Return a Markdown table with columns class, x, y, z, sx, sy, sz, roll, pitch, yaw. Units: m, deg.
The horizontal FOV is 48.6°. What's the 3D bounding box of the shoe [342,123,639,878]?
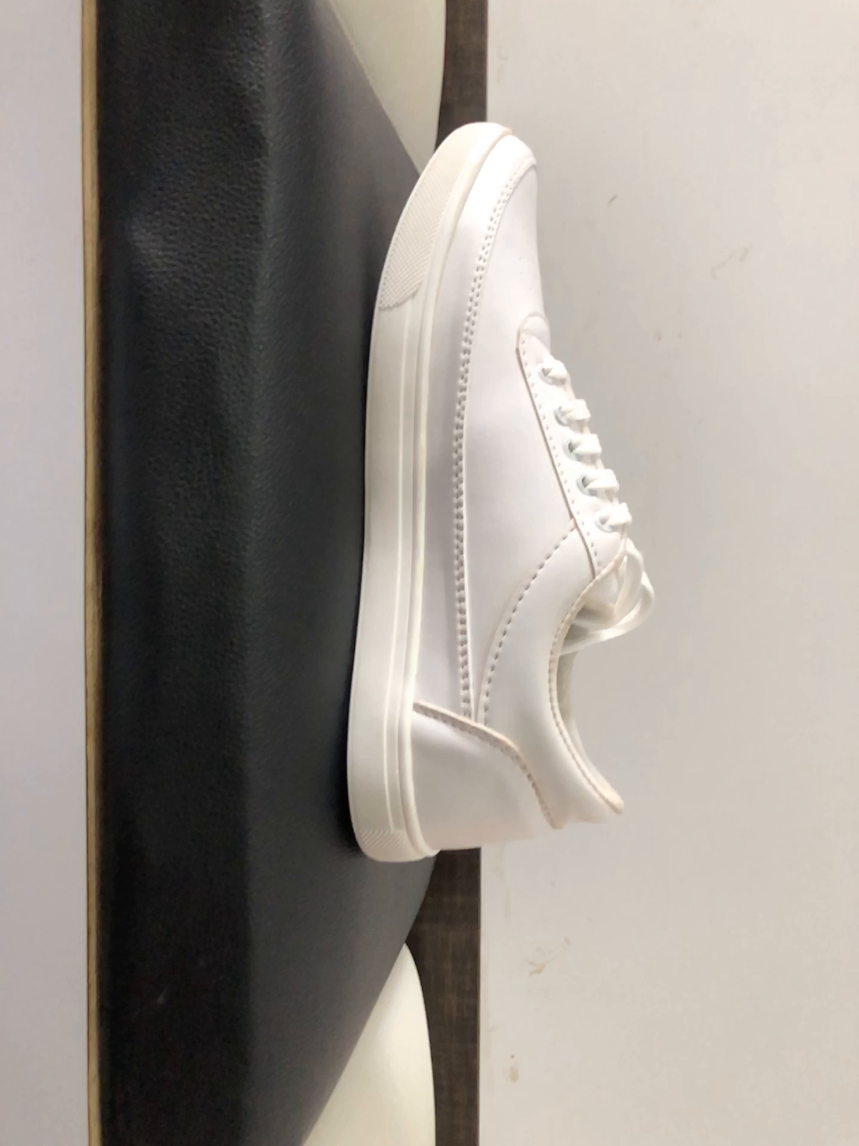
| class | x | y | z | sx | sy | sz | roll | pitch | yaw |
| --- | --- | --- | --- | --- | --- | --- | --- | --- | --- |
| shoe | 0.035 | -0.027 | 0.434 | 0.130 | 0.110 | 0.290 | 32 | 59 | -79 |
